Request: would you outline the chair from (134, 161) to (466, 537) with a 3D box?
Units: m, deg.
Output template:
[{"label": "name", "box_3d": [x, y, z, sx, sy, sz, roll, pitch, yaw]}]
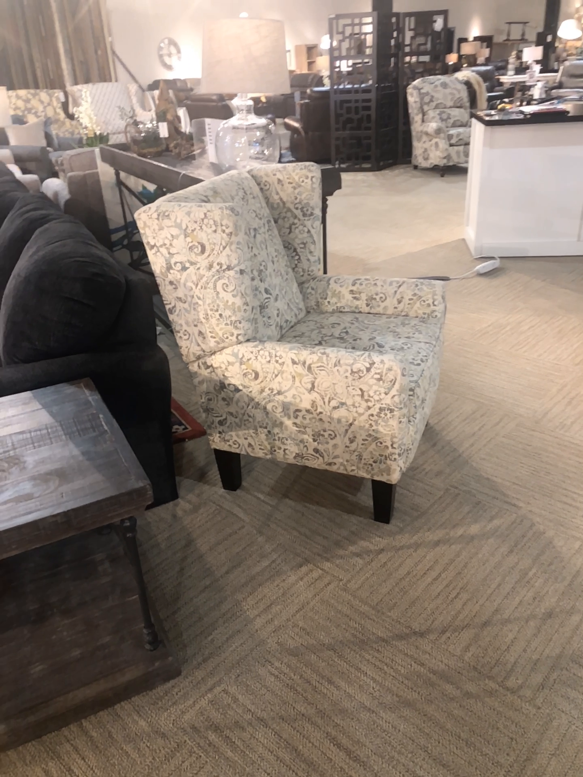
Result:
[{"label": "chair", "box_3d": [0.094, -0.207, 2.188, 0.800, 0.975, 0.784, 8, 29, 20]}]
